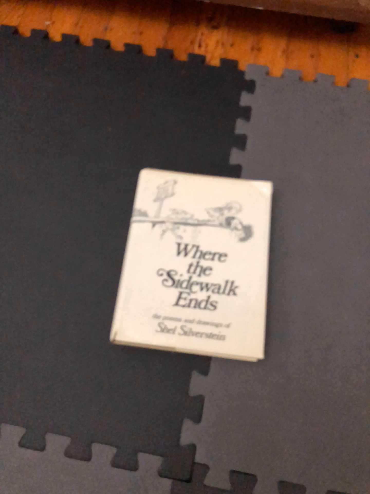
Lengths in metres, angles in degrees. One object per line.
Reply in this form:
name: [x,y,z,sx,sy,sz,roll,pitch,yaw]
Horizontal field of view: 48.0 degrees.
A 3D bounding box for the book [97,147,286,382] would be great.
book: [0.018,0.010,0.530,0.200,0.030,0.281,7,68,3]
